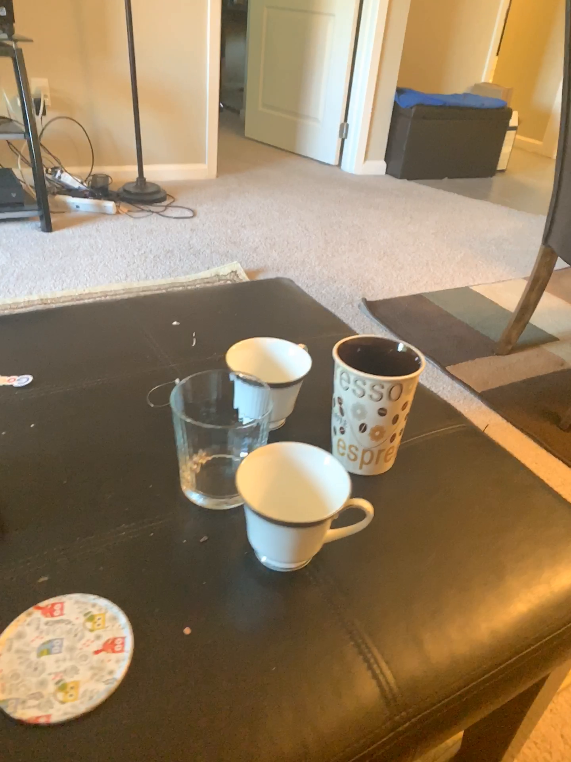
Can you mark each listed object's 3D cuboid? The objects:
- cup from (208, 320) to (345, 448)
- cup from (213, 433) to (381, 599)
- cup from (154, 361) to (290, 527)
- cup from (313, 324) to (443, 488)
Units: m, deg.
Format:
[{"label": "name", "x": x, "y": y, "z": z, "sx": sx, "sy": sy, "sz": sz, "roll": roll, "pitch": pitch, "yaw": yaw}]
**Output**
[{"label": "cup", "x": -0.011, "y": -0.001, "z": 0.622, "sx": 0.090, "sy": 0.070, "sz": 0.110, "roll": 30, "pitch": 40, "yaw": 32}, {"label": "cup", "x": 0.013, "y": 0.105, "z": 0.475, "sx": 0.120, "sy": 0.060, "sz": 0.101, "roll": 9, "pitch": 33, "yaw": 4}, {"label": "cup", "x": -0.057, "y": 0.056, "z": 0.549, "sx": 0.100, "sy": 0.099, "sz": 0.101, "roll": 4, "pitch": 33, "yaw": -3}, {"label": "cup", "x": 0.088, "y": 0.022, "z": 0.575, "sx": 0.100, "sy": 0.109, "sz": 0.101, "roll": 4, "pitch": 33, "yaw": -3}]
